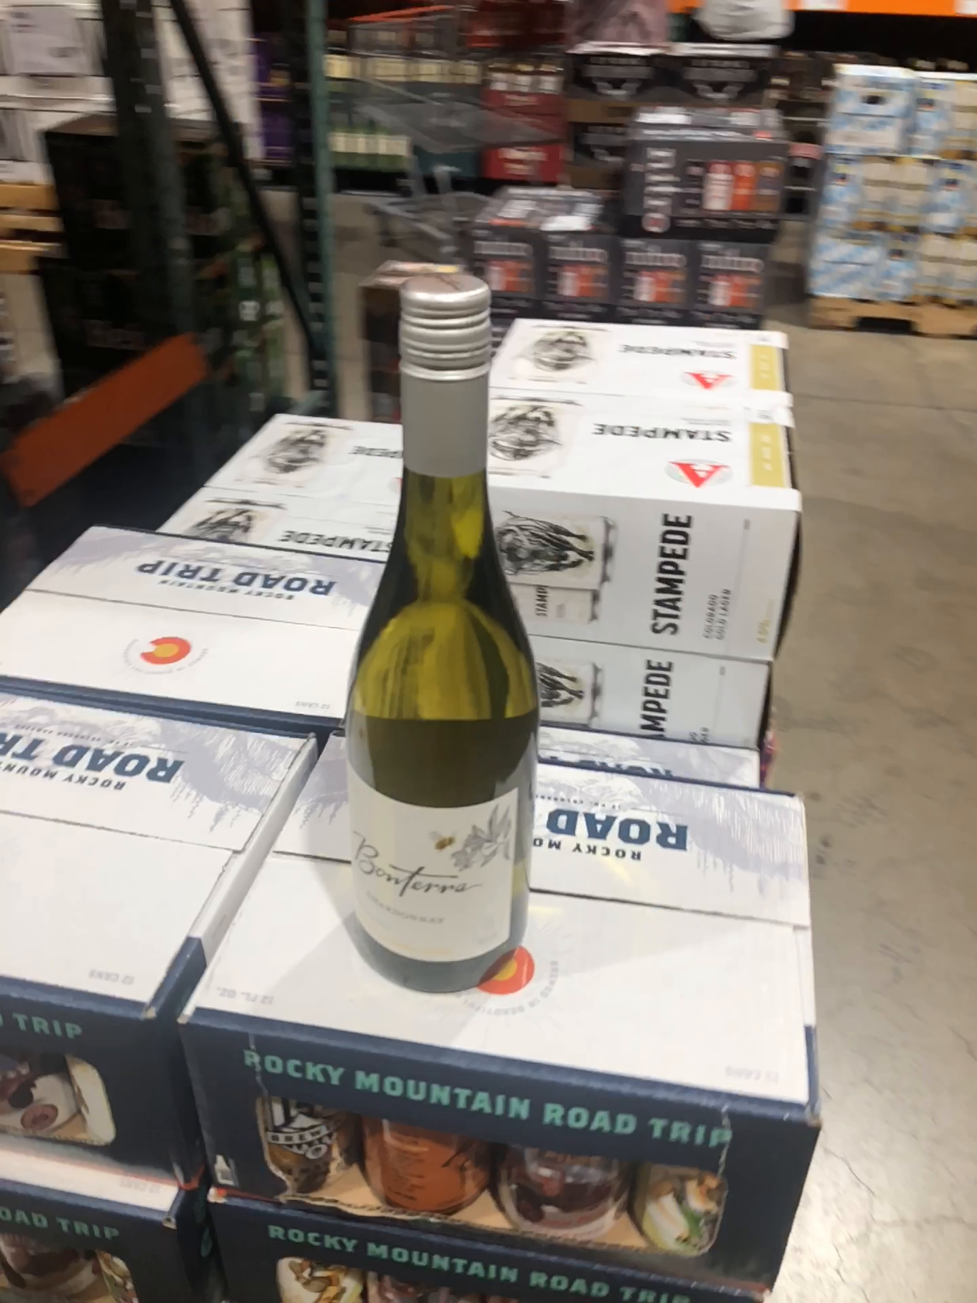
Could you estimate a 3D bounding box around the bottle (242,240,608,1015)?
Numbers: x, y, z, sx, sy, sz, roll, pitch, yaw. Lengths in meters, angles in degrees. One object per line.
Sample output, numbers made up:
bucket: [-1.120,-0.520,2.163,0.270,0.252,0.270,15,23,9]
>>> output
bottle: [-0.019,0.002,0.418,0.090,0.284,0.084,1,33,0]
